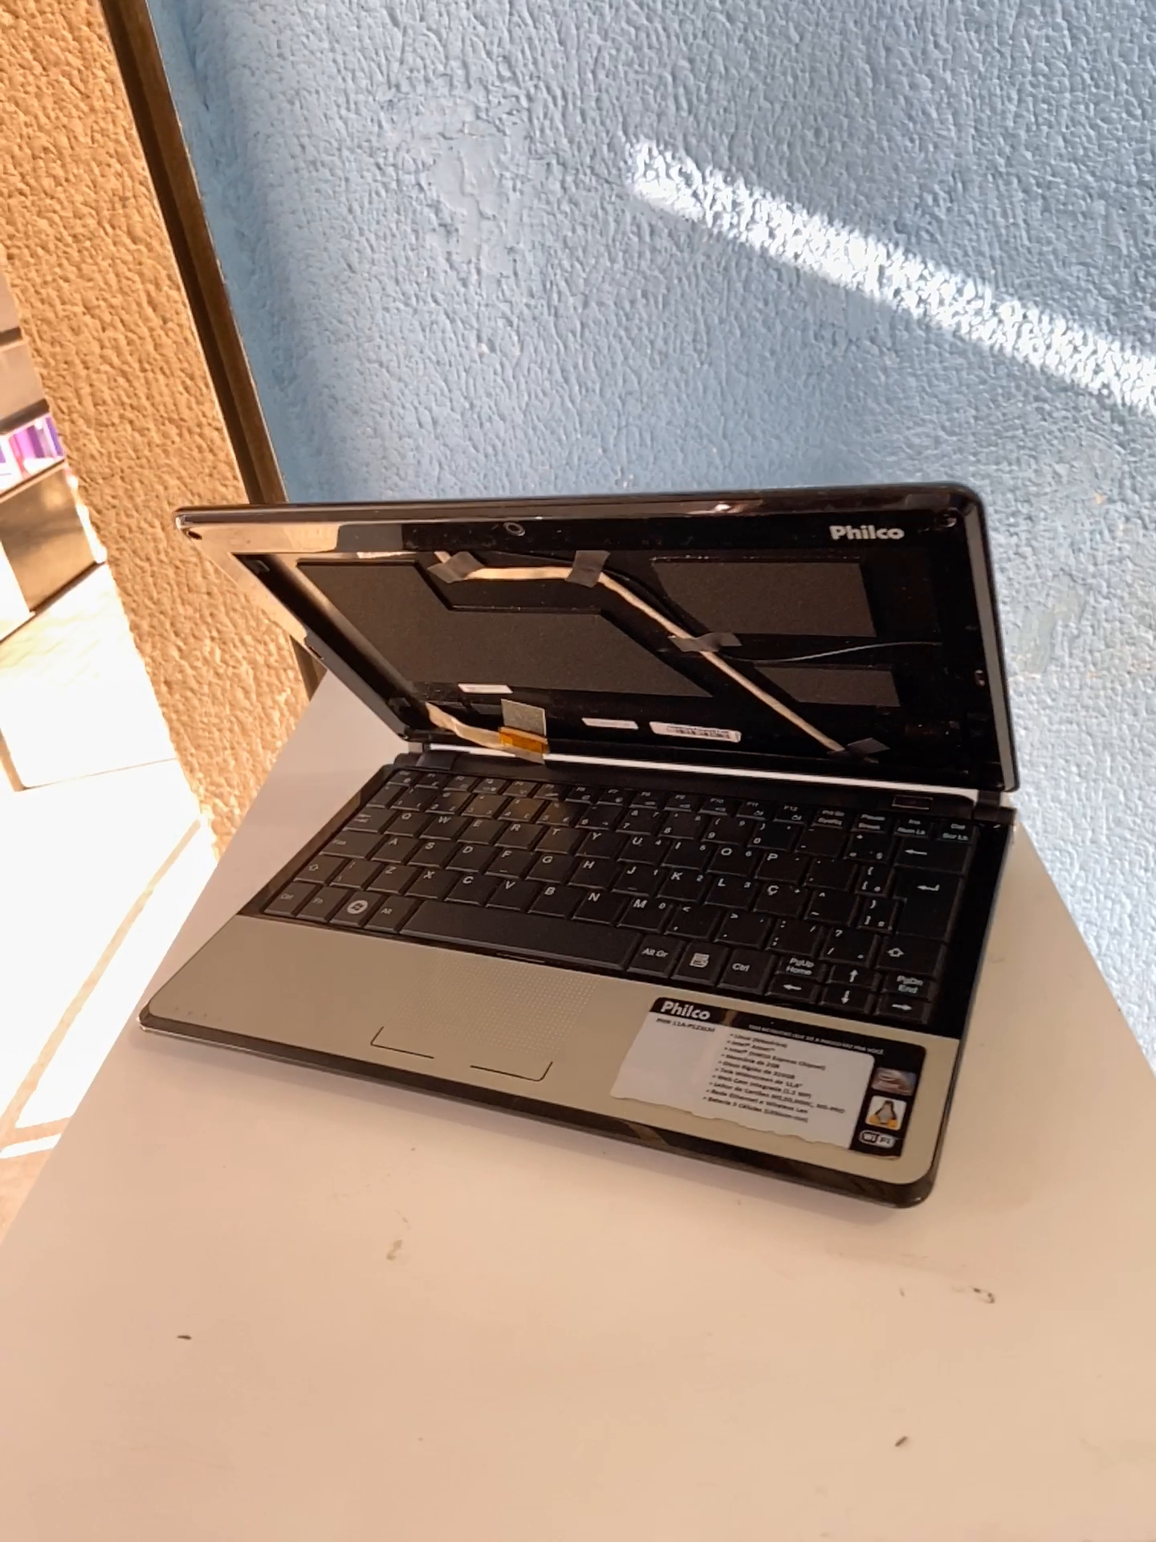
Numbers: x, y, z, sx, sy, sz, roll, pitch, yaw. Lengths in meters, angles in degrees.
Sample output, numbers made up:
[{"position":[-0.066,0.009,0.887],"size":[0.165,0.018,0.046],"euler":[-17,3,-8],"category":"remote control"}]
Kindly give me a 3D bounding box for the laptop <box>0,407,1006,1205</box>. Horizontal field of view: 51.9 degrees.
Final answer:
[{"position":[-0.013,-0.010,0.400],"size":[0.275,0.144,0.177],"euler":[4,33,27],"category":"laptop"}]
